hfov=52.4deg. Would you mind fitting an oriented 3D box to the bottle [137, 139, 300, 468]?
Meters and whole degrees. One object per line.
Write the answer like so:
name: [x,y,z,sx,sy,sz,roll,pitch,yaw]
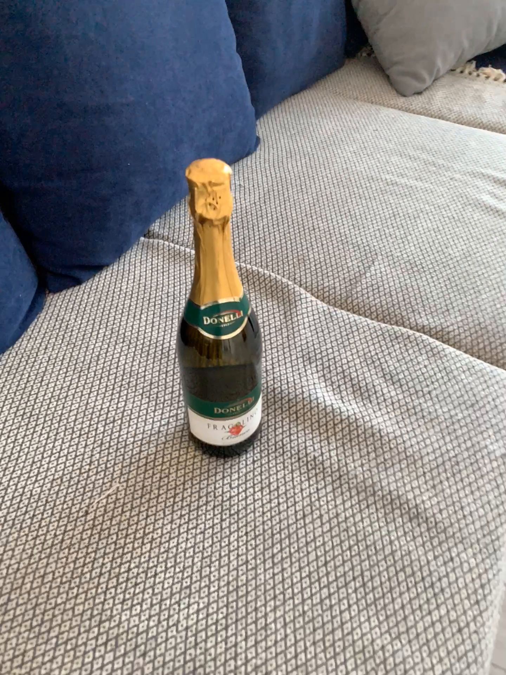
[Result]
bottle: [-0.029,-0.010,0.456,0.090,0.289,0.090,1,46,-1]
